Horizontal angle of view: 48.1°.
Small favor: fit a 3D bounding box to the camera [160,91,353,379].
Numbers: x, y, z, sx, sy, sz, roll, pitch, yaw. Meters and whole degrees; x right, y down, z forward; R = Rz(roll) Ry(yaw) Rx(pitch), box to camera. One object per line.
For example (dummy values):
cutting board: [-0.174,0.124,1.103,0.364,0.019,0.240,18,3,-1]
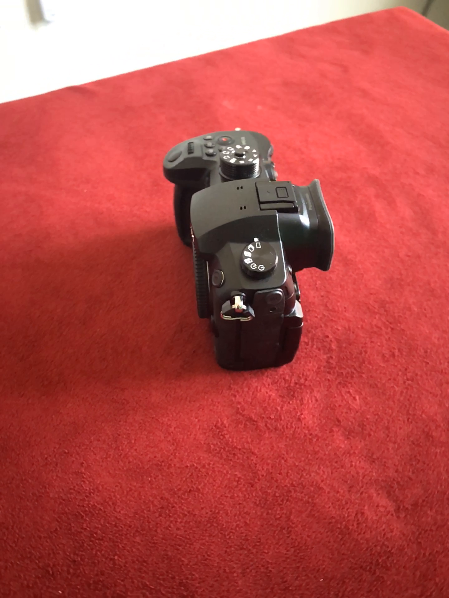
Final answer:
camera: [0.009,-0.042,0.300,0.085,0.087,0.148,-4,52,-2]
